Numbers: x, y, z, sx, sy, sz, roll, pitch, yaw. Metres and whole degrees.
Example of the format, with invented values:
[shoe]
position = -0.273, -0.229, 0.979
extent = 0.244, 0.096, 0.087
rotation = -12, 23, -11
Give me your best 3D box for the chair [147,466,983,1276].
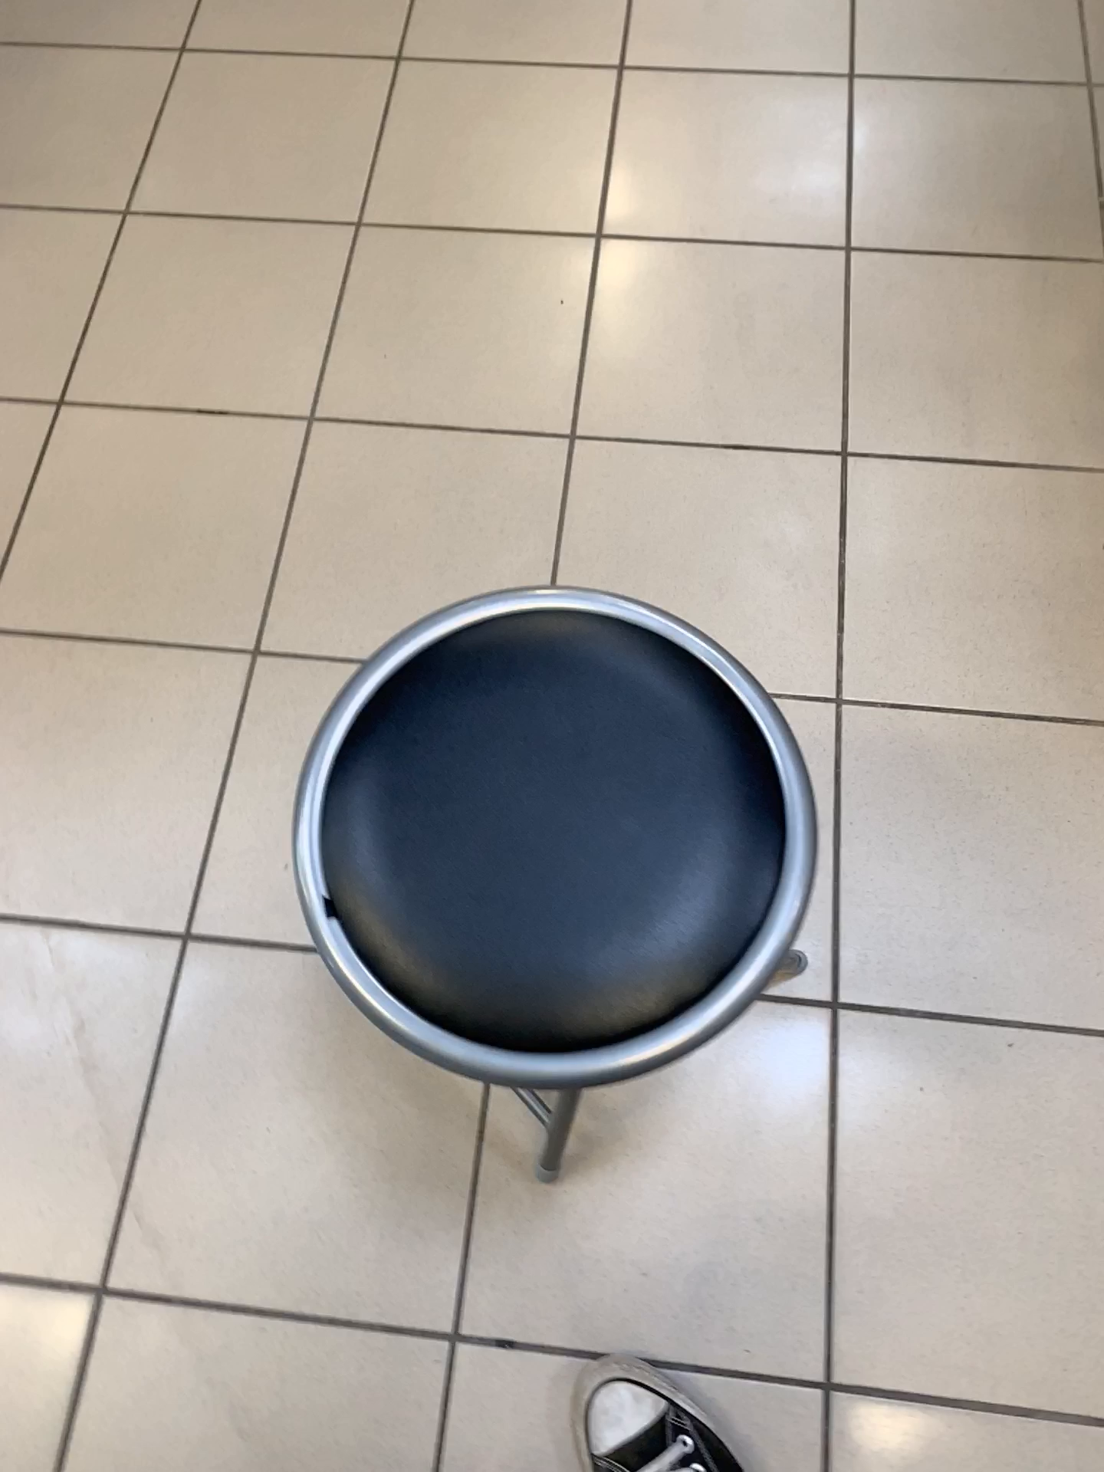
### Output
[chair]
position = 0.011, 0.121, 0.817
extent = 0.335, 0.402, 0.328
rotation = -40, 71, -13
